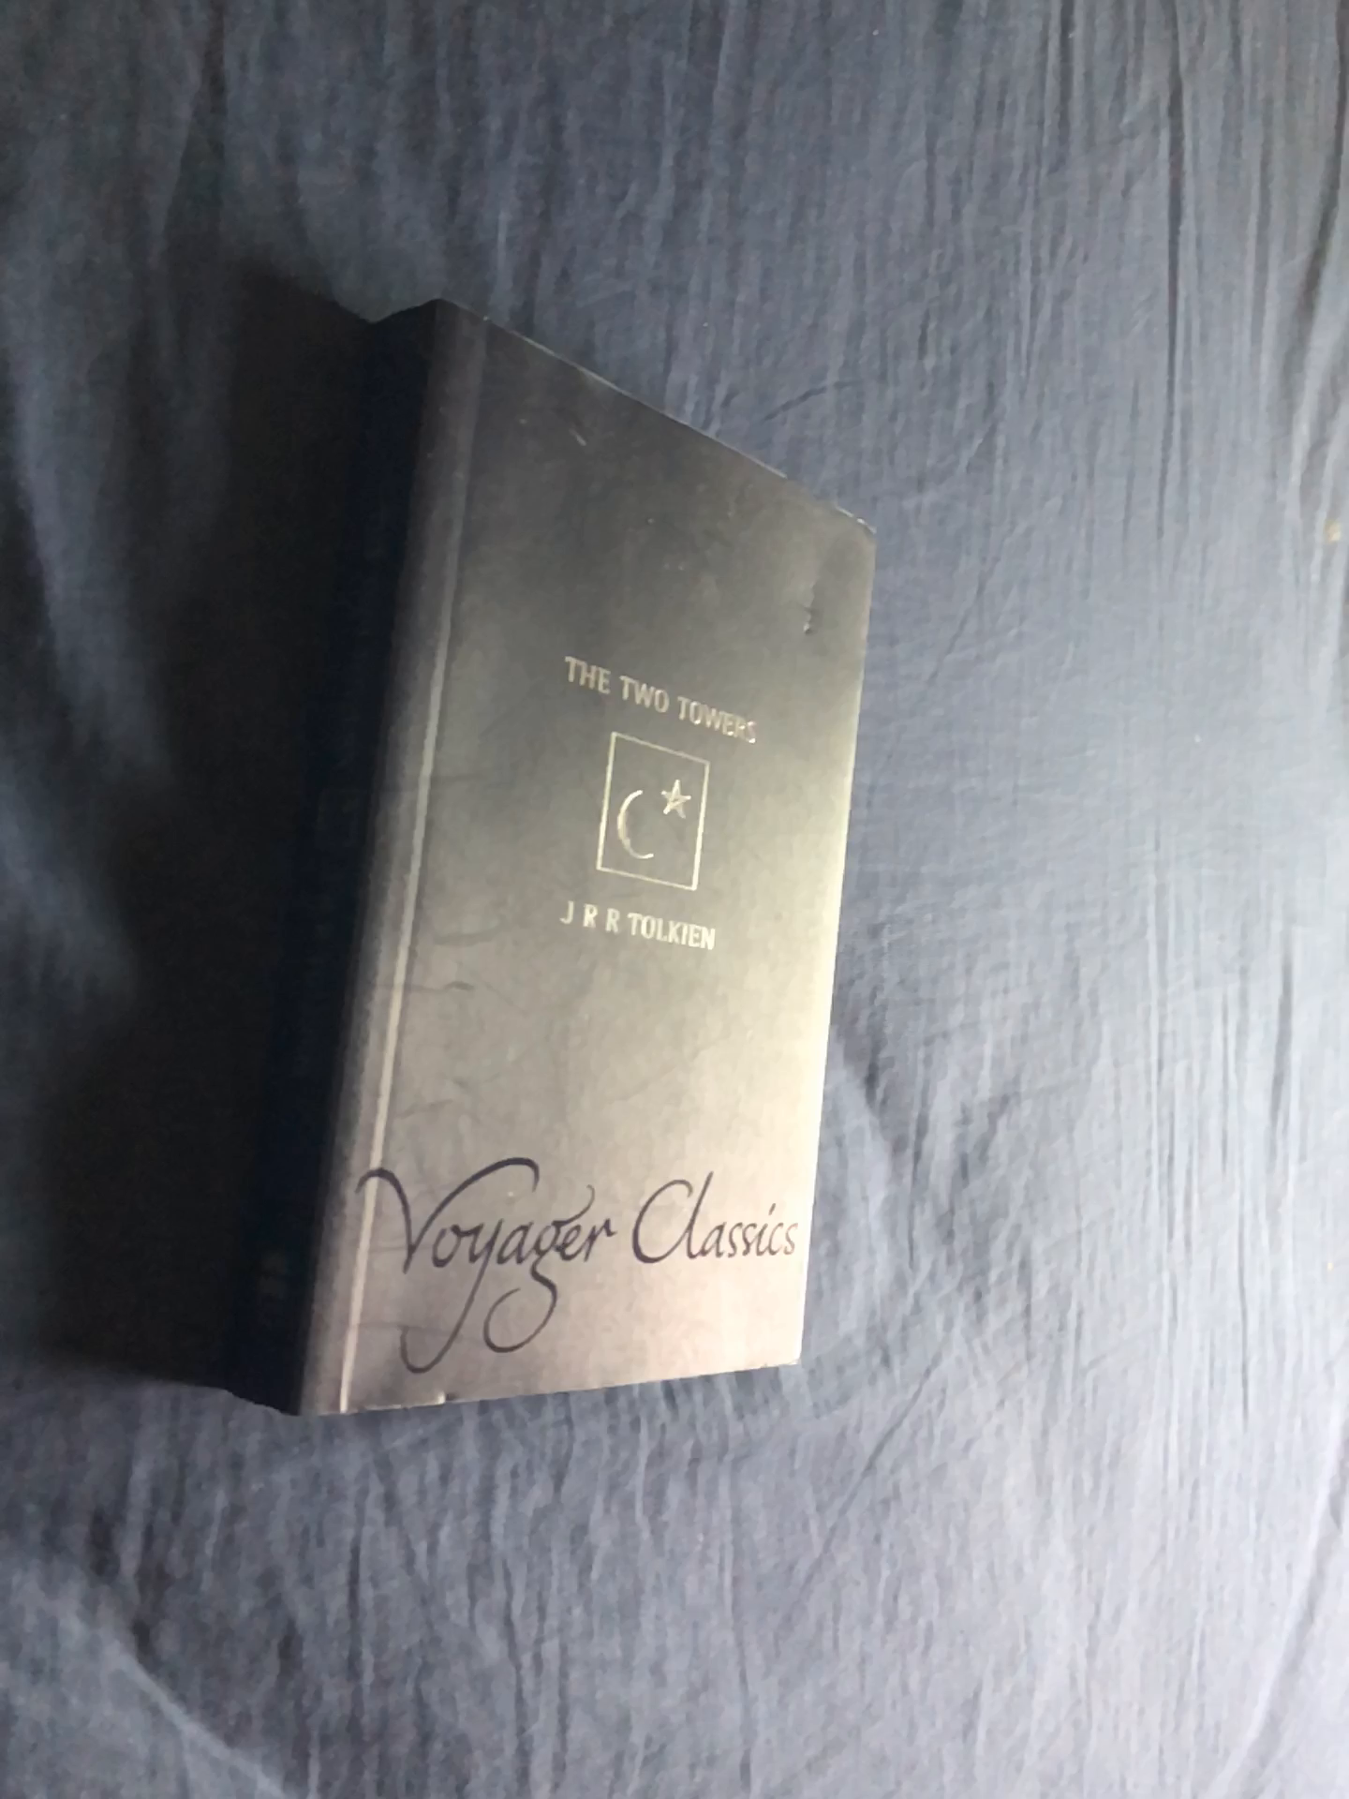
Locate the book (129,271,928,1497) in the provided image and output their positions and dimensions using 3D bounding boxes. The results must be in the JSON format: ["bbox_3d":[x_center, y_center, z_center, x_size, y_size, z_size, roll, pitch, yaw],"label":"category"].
[{"bbox_3d":[-0.018,0.002,0.300,0.141,0.060,0.190,11,83,-49],"label":"book"}]
